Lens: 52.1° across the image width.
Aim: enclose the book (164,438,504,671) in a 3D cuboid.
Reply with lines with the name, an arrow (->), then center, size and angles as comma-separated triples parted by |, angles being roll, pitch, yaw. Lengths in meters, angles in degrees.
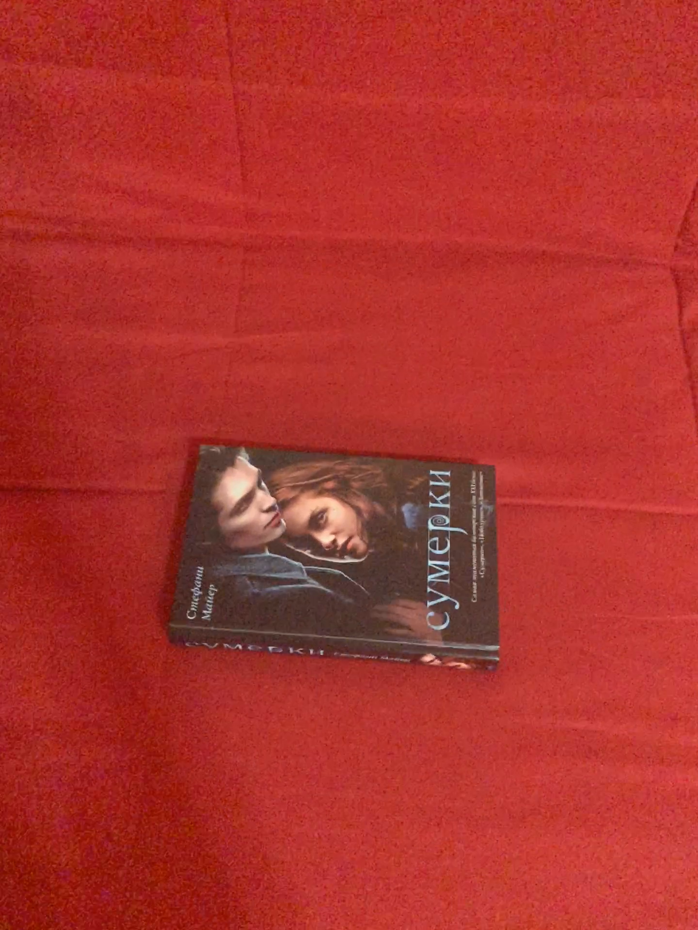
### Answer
book -> -0.005, 0.058, 0.476 | 0.209, 0.036, 0.134 | 4, 69, 0
